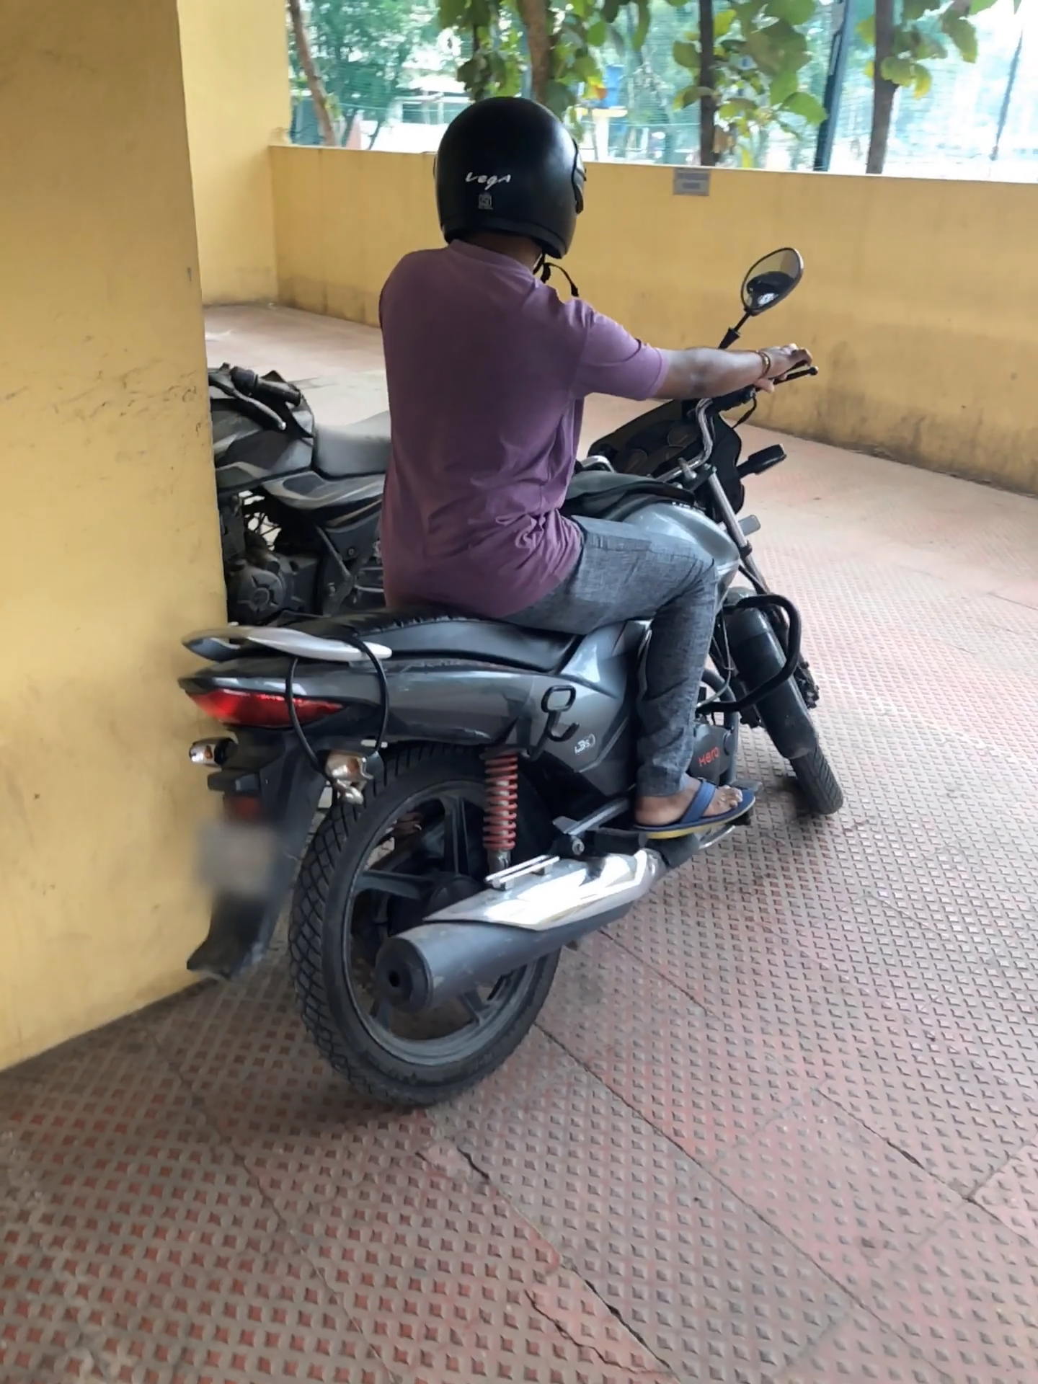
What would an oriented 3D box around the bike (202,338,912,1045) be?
[{"bbox_3d":[0.135,-0.136,2.310,0.700,1.000,1.241,20,29,33],"label":"bike"}]
